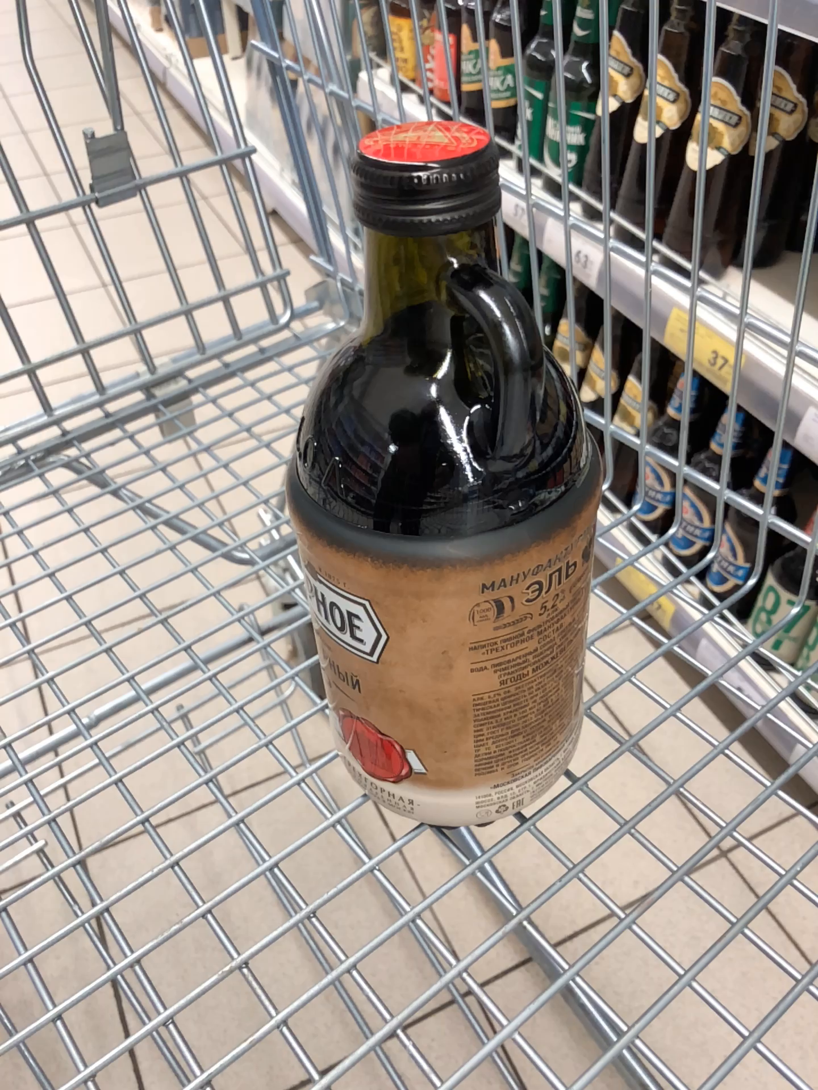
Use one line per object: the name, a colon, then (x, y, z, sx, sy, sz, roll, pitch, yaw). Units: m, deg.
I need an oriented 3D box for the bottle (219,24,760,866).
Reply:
bottle: (0.010, -0.017, 0.282, 0.100, 0.229, 0.111, -7, 42, -6)
